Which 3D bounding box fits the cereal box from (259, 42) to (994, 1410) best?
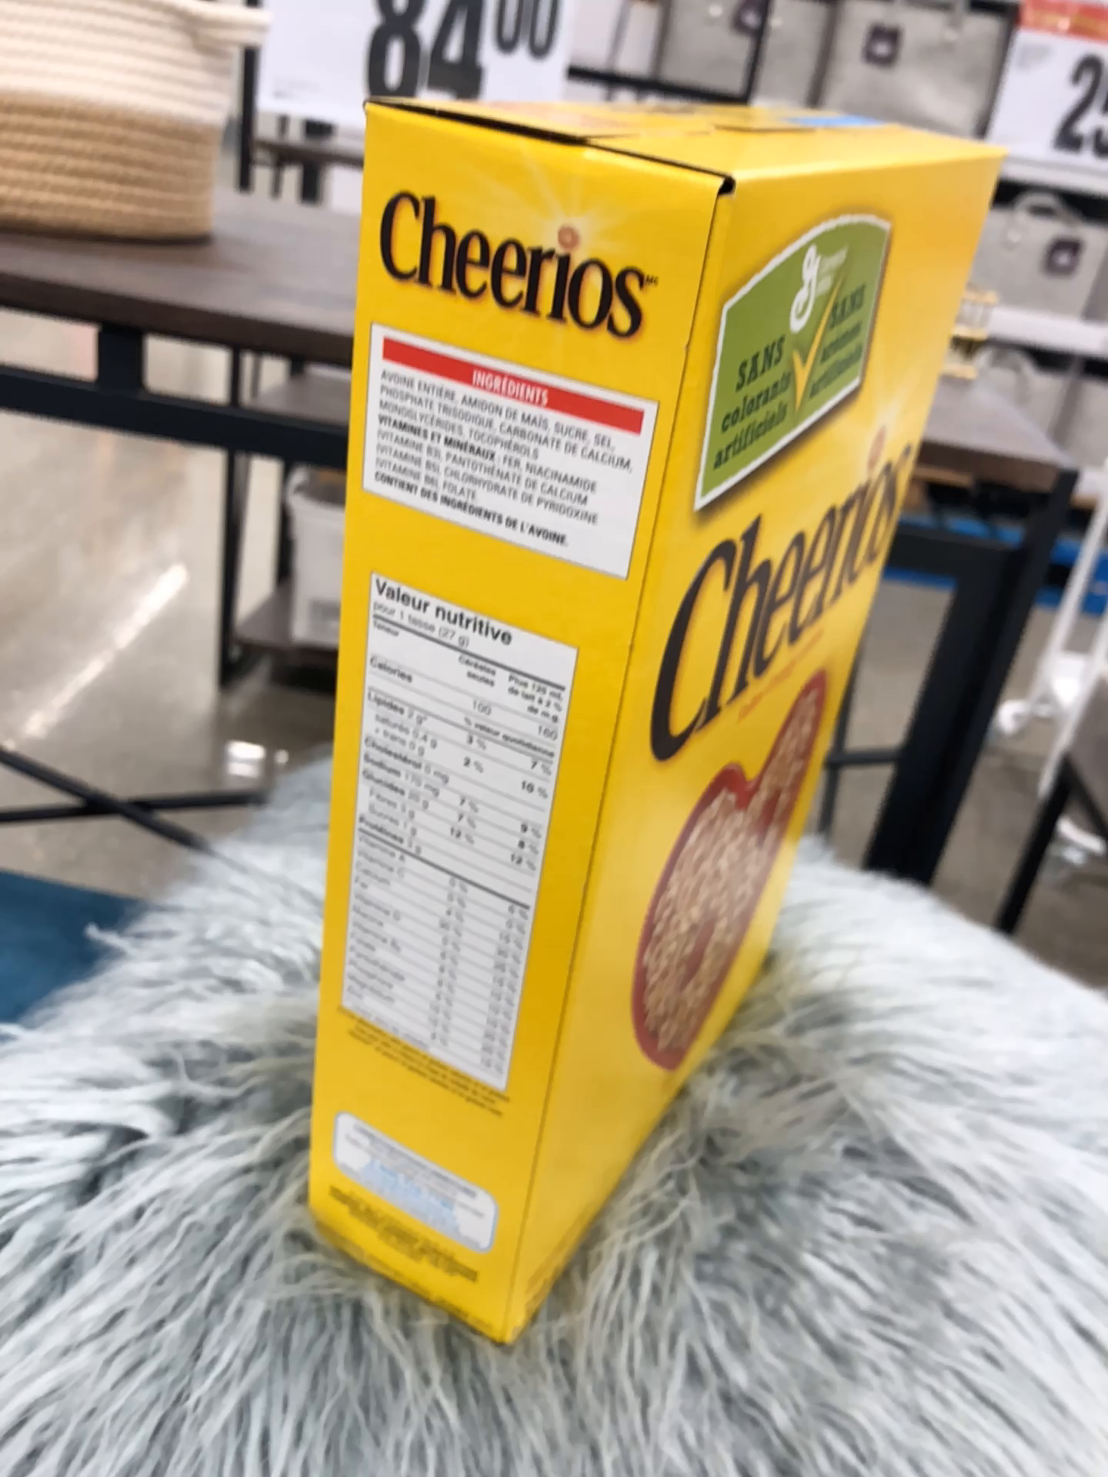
[{"bbox_3d":[0.023,-0.012,0.342,0.080,0.289,0.211,19,29,19],"label":"cereal box"}]
